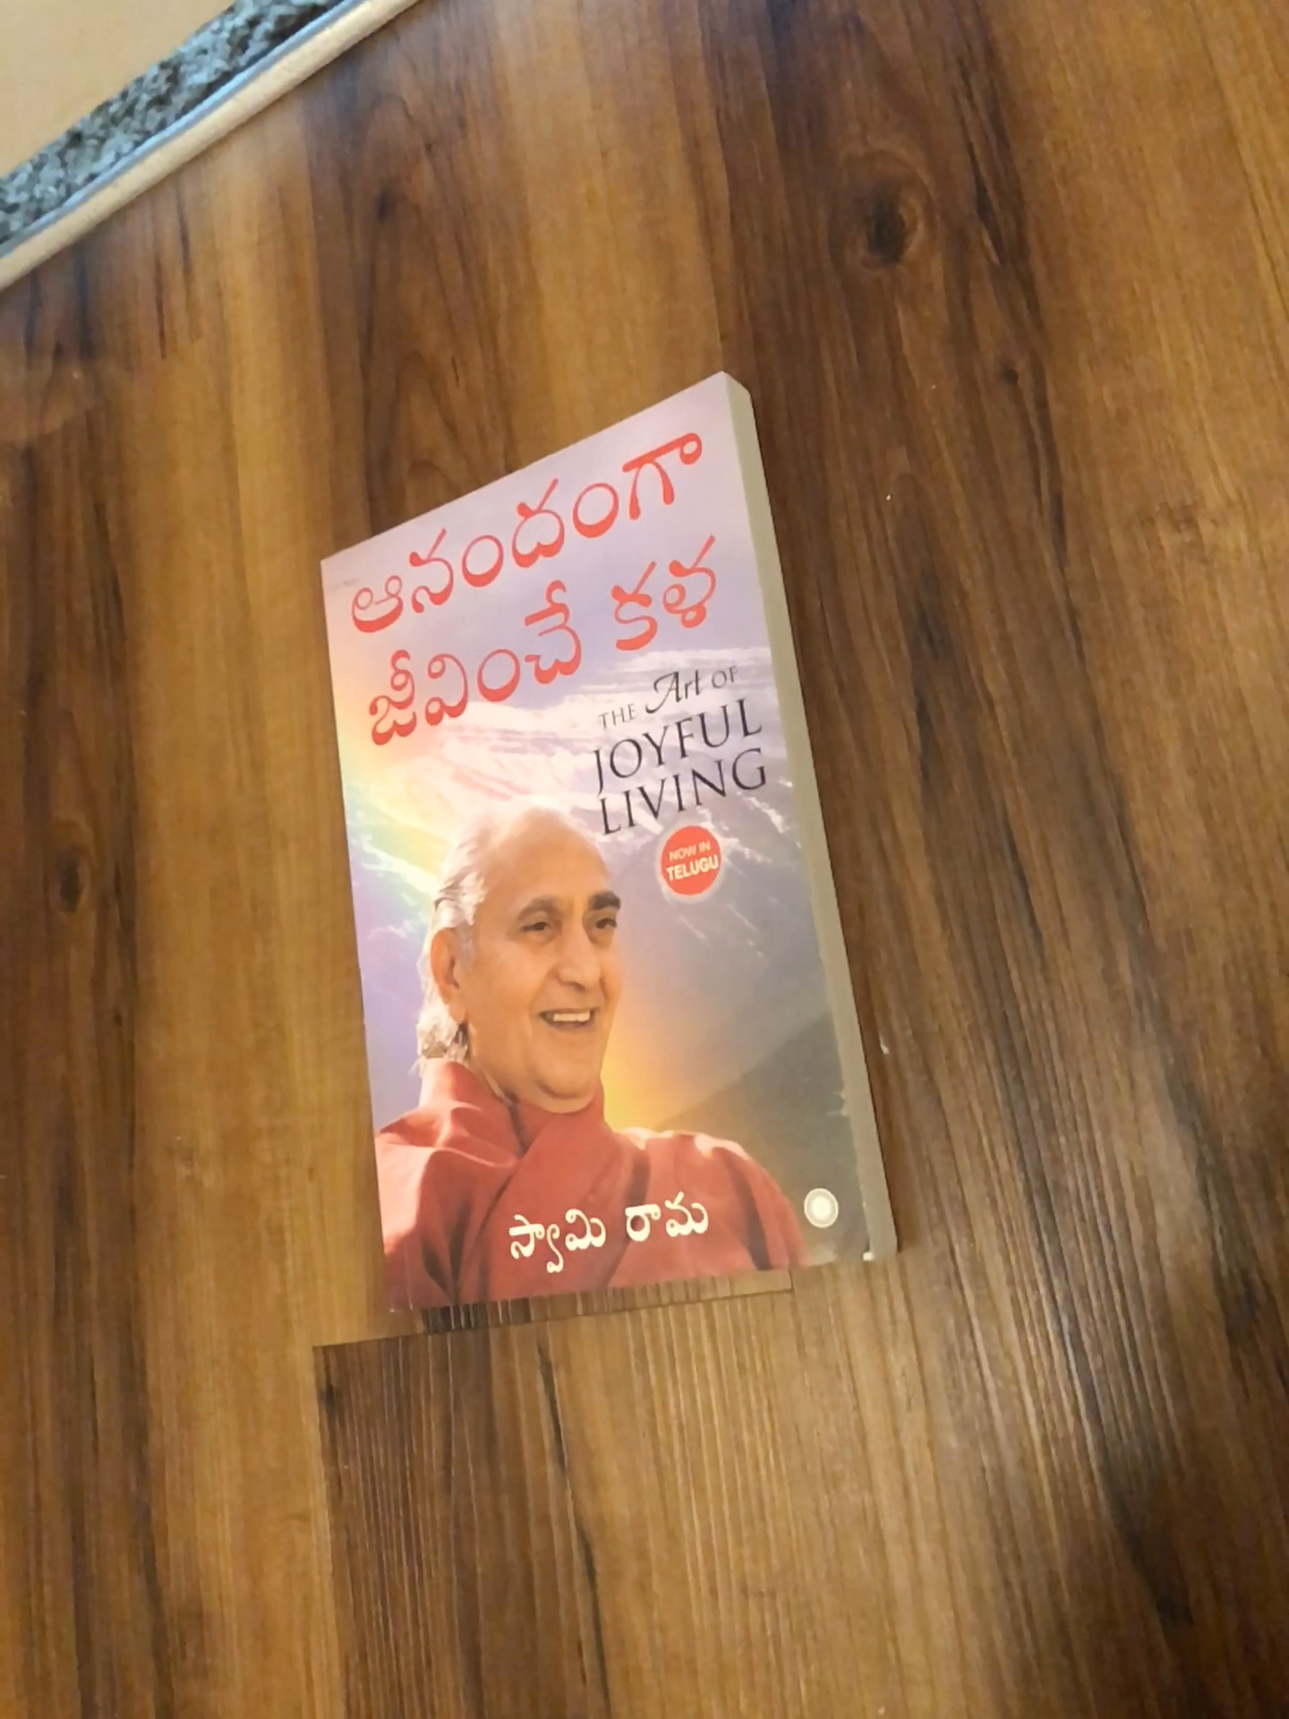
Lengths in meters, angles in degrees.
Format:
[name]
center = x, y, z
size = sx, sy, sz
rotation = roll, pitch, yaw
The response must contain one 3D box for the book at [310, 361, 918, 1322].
[book]
center = -0.019, 0.001, 0.374
size = 0.145, 0.020, 0.219
rotation = -16, 75, 31
